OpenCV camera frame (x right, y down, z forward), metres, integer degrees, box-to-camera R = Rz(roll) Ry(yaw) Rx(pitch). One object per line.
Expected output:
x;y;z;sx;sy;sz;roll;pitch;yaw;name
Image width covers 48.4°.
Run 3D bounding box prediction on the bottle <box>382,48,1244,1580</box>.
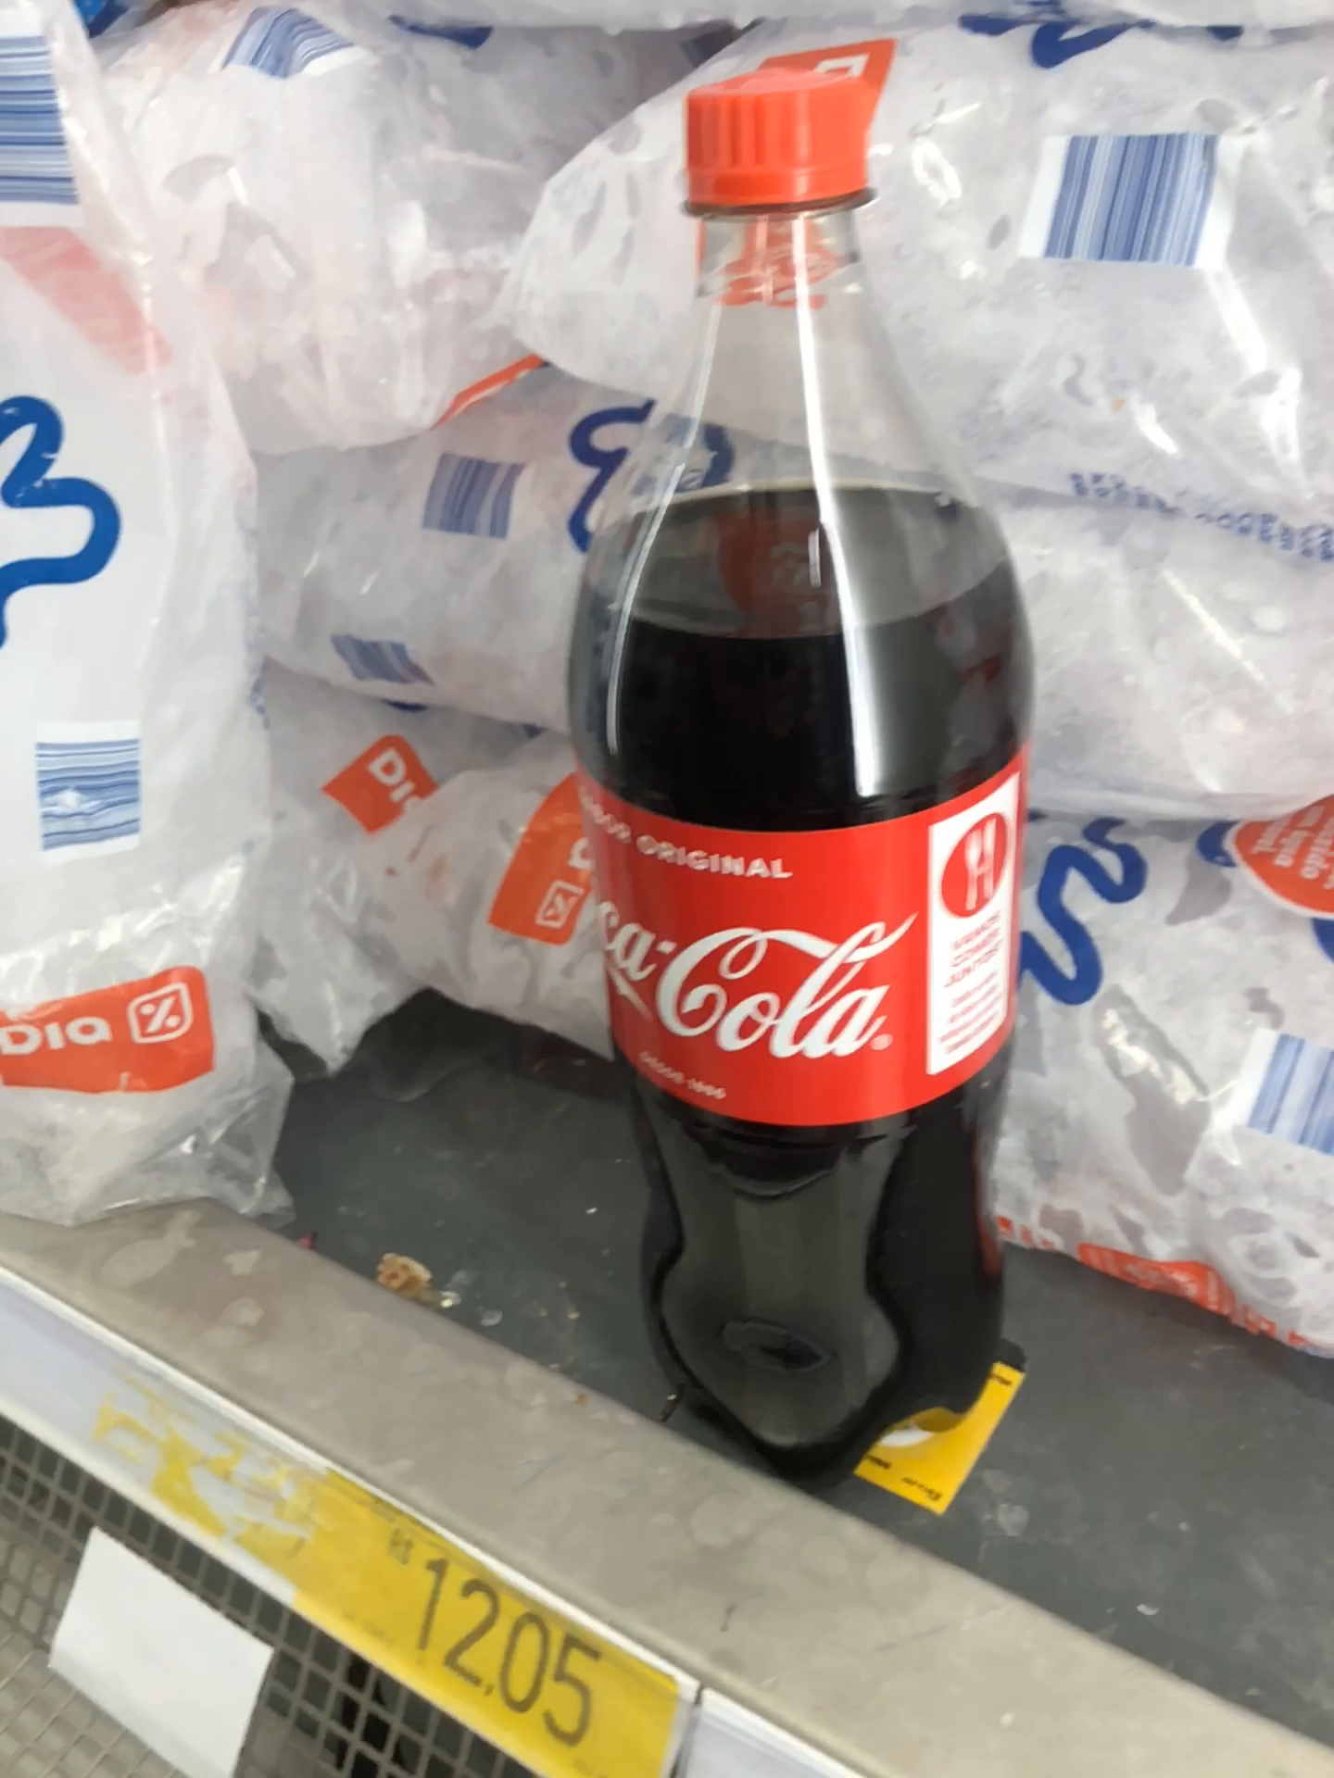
0.030;-0.001;0.302;0.100;0.288;0.080;24;43;36;bottle
